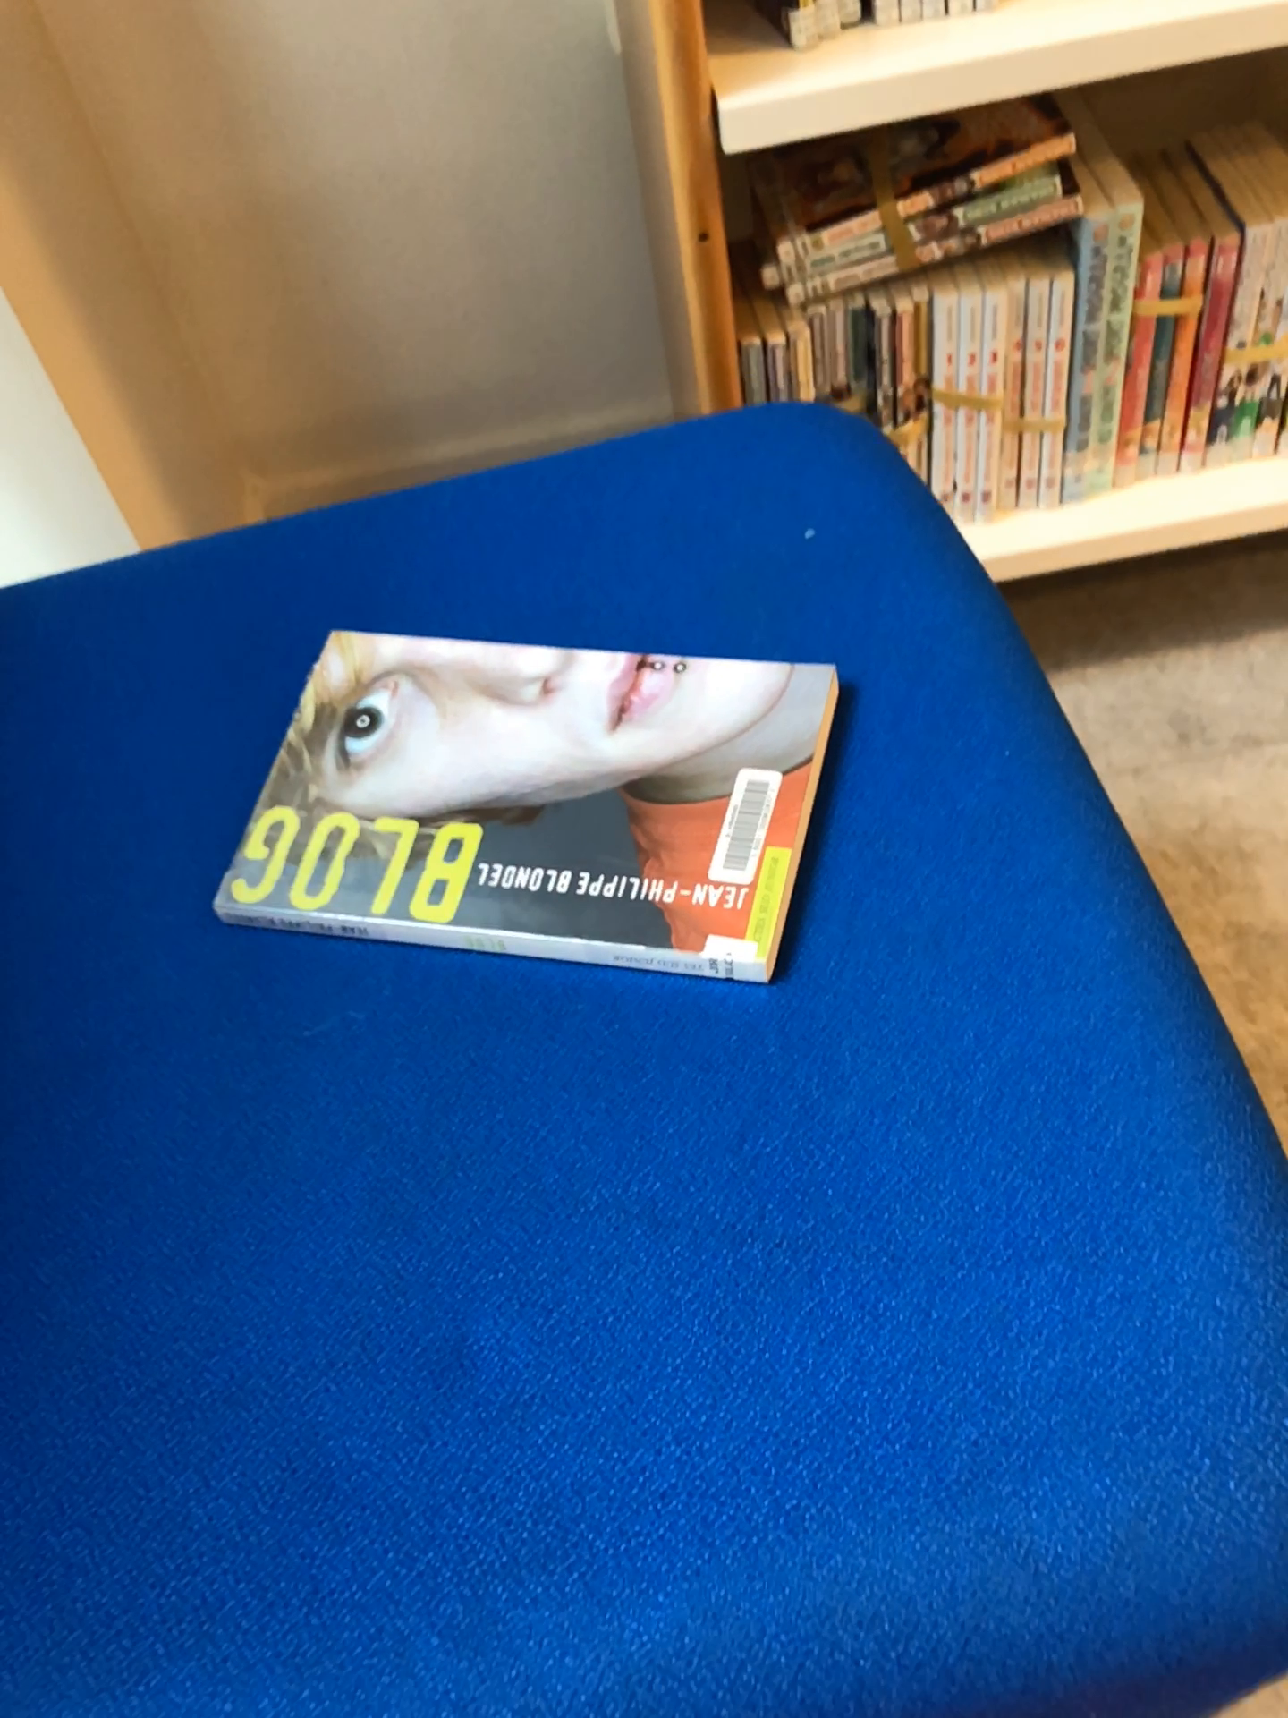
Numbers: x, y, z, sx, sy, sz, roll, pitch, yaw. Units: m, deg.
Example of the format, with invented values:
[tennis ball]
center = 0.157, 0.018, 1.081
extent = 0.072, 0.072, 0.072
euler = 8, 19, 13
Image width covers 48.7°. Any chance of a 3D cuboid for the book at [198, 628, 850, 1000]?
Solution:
[book]
center = -0.042, -0.026, 0.547
extent = 0.220, 0.018, 0.143
euler = 6, 55, 16
